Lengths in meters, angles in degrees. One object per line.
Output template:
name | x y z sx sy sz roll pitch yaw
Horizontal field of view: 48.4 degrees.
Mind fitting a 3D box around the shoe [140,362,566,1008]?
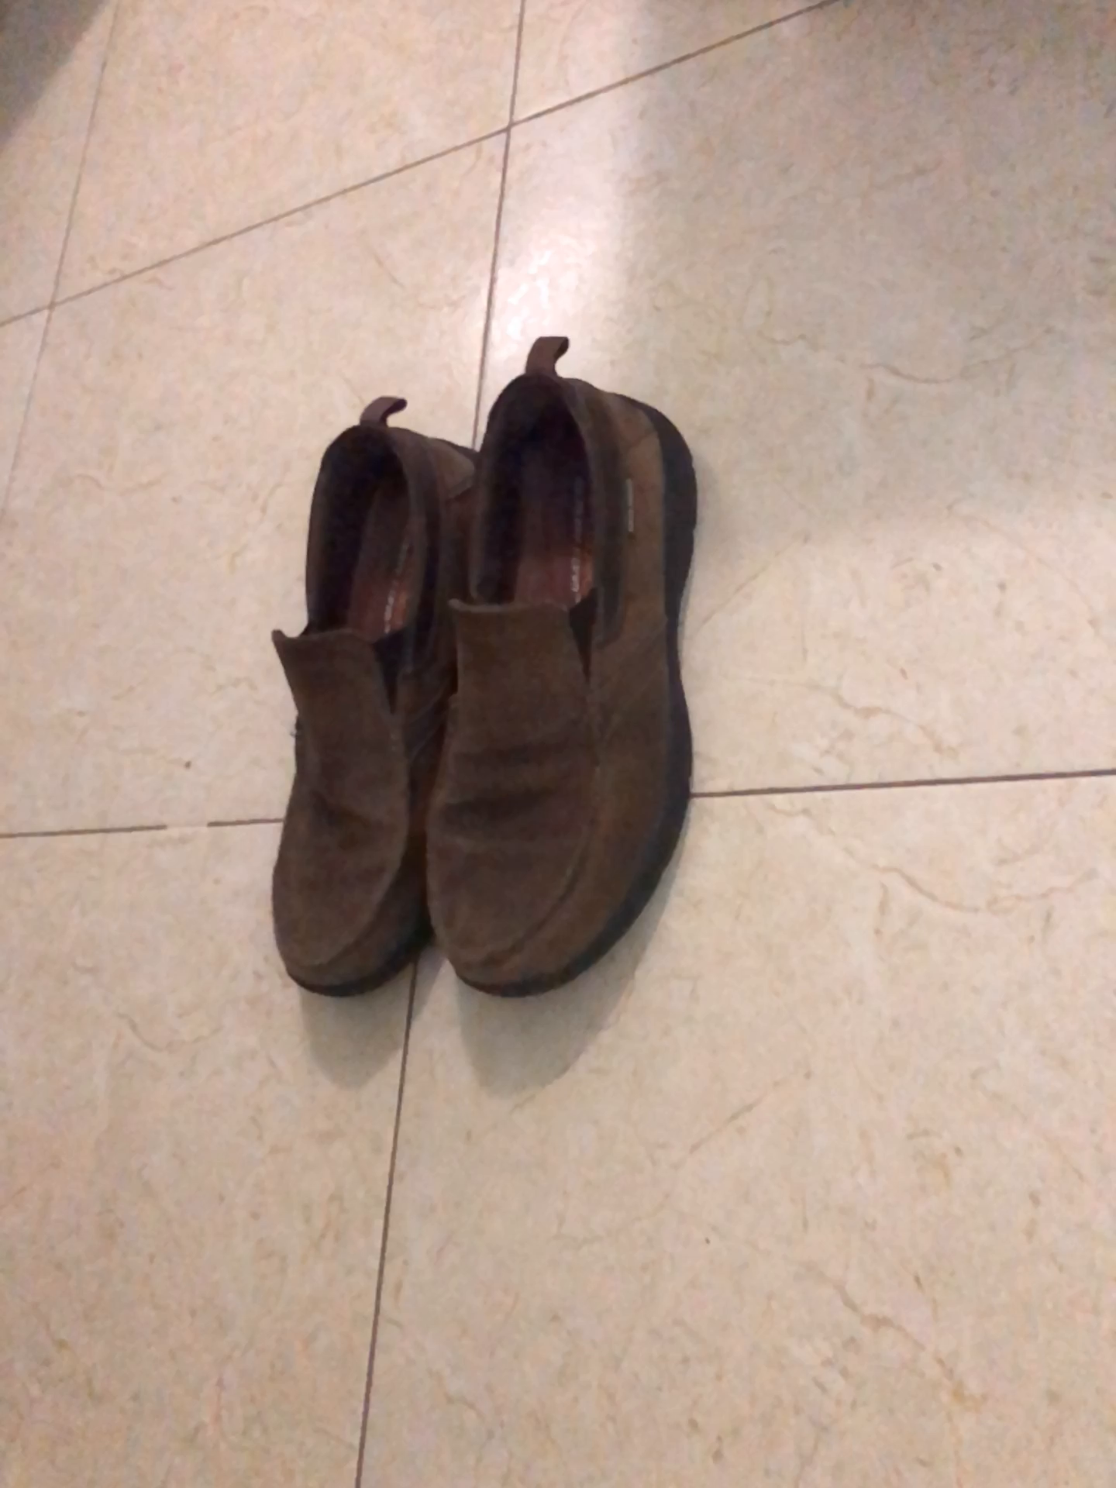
shoe | -0.099 -0.029 0.640 0.121 0.100 0.300 2 74 33

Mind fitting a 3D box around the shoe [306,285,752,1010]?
shoe | -0.006 -0.041 0.577 0.131 0.100 0.300 0 73 32
